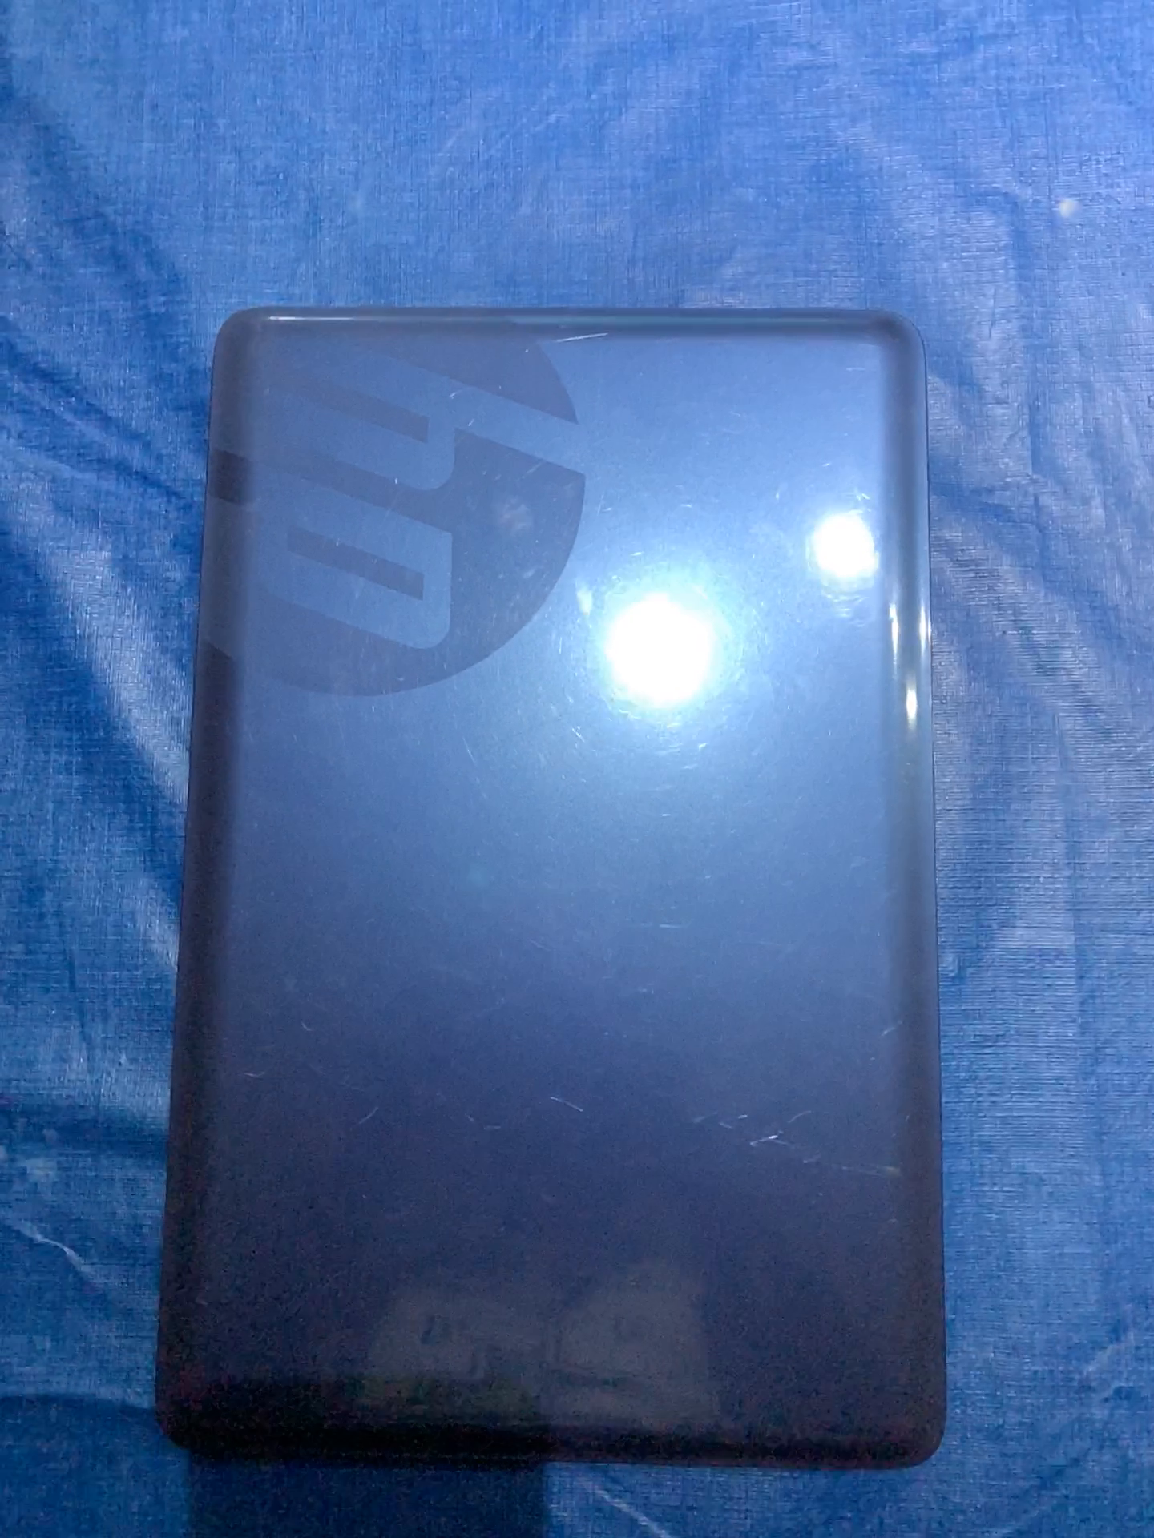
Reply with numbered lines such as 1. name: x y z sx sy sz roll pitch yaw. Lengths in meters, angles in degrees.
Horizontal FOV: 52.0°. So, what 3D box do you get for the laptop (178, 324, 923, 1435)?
1. laptop: -0.005 0.028 0.395 0.235 0.009 0.363 1 84 1
